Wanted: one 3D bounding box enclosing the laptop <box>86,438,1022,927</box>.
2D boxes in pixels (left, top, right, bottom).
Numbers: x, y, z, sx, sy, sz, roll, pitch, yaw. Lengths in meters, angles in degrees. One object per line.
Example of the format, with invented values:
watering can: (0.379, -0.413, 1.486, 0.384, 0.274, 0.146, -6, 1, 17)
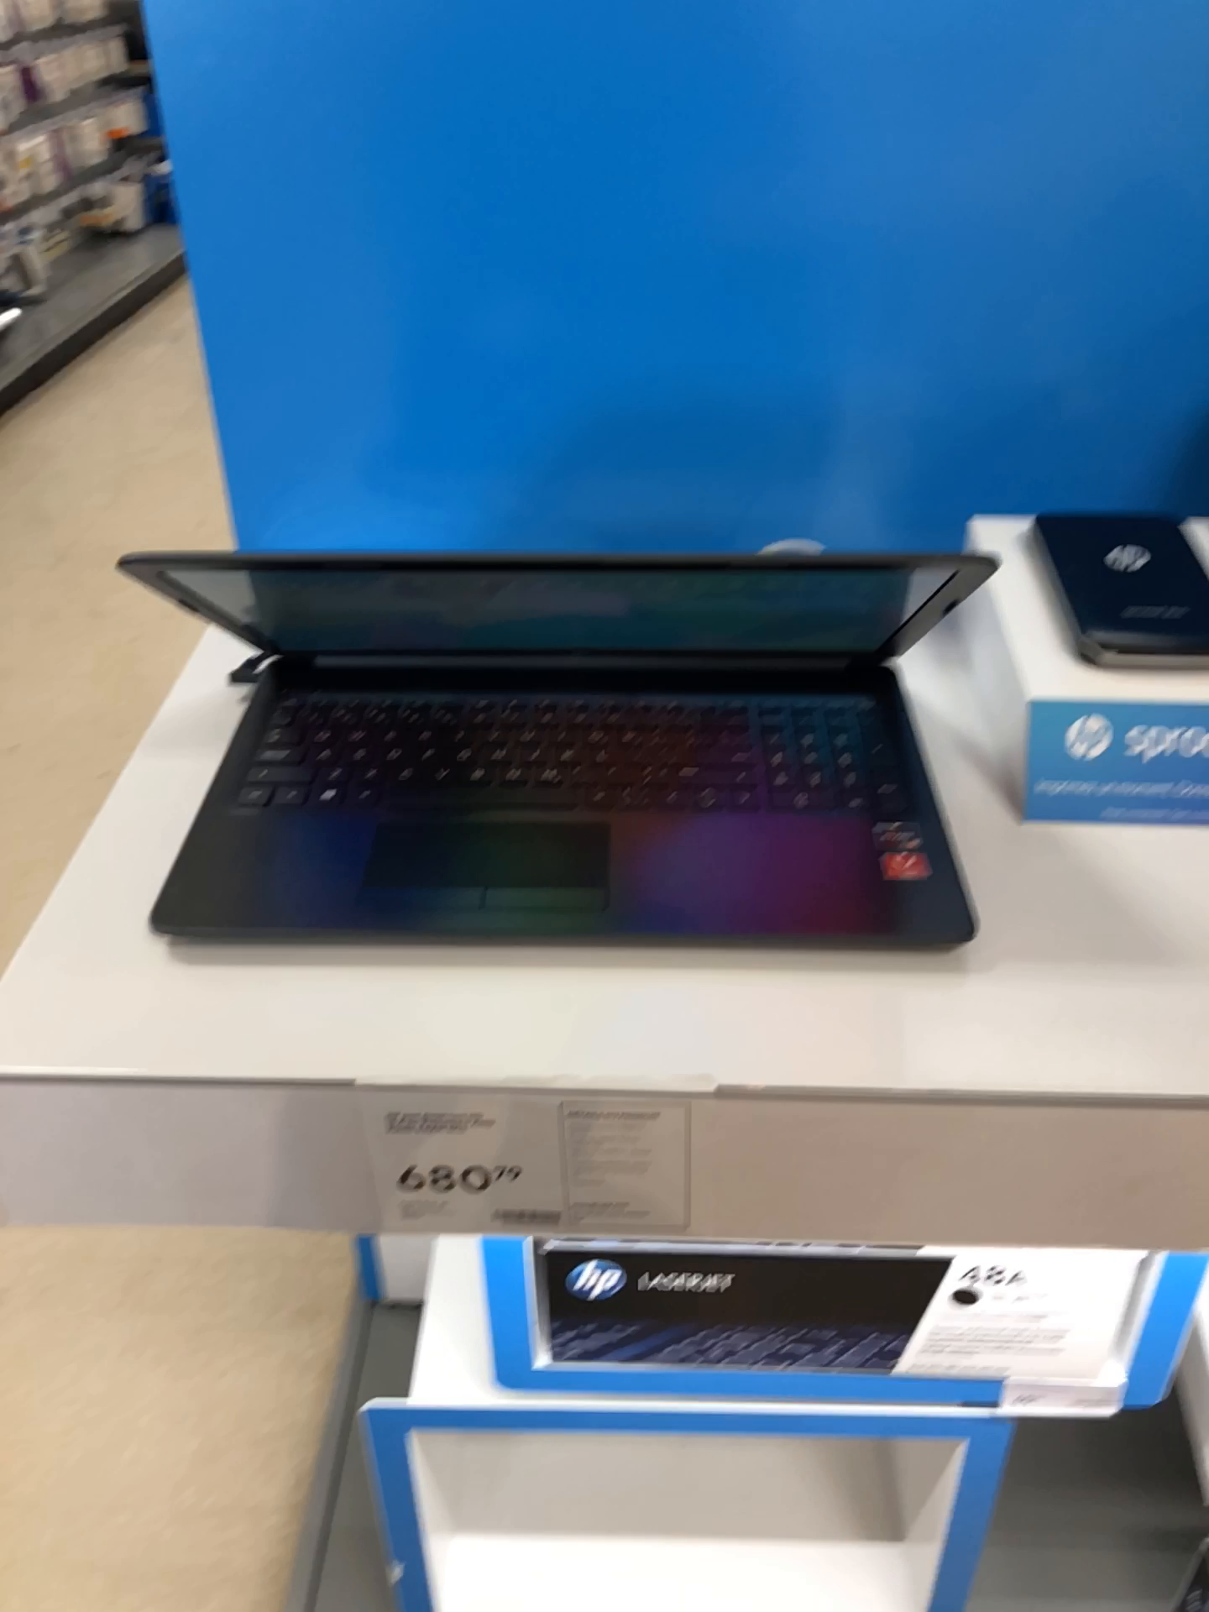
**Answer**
laptop: (-0.017, -0.071, 0.639, 0.355, 0.130, 0.243, 0, 34, -1)
